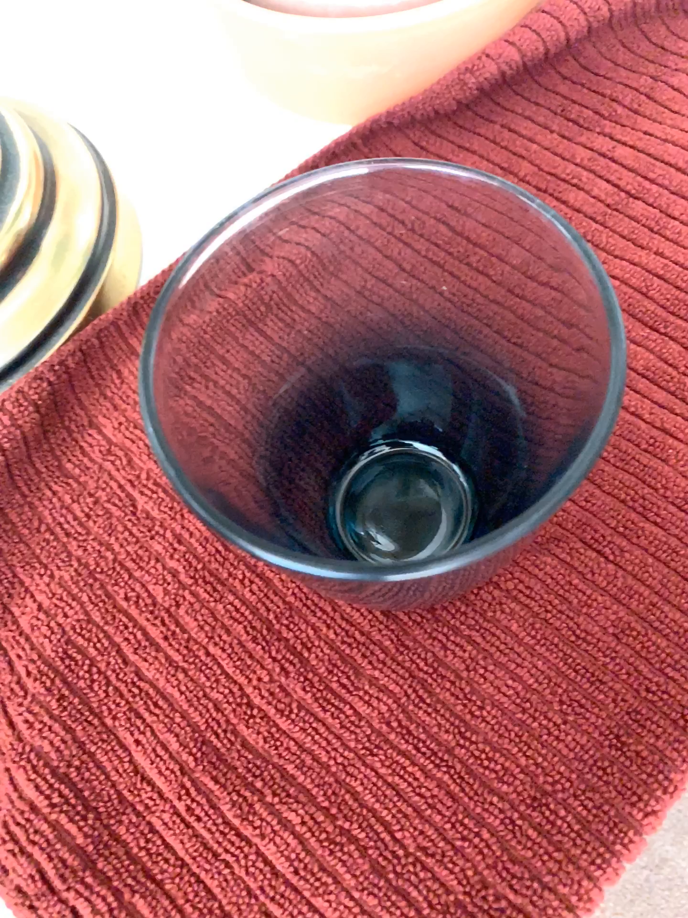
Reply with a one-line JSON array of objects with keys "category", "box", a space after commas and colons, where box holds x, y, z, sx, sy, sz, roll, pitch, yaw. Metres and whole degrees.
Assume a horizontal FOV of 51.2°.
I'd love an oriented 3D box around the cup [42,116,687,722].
[{"category": "cup", "box": [0.010, -0.007, 0.152, 0.084, 0.070, 0.087, -3, 64, 7]}]
